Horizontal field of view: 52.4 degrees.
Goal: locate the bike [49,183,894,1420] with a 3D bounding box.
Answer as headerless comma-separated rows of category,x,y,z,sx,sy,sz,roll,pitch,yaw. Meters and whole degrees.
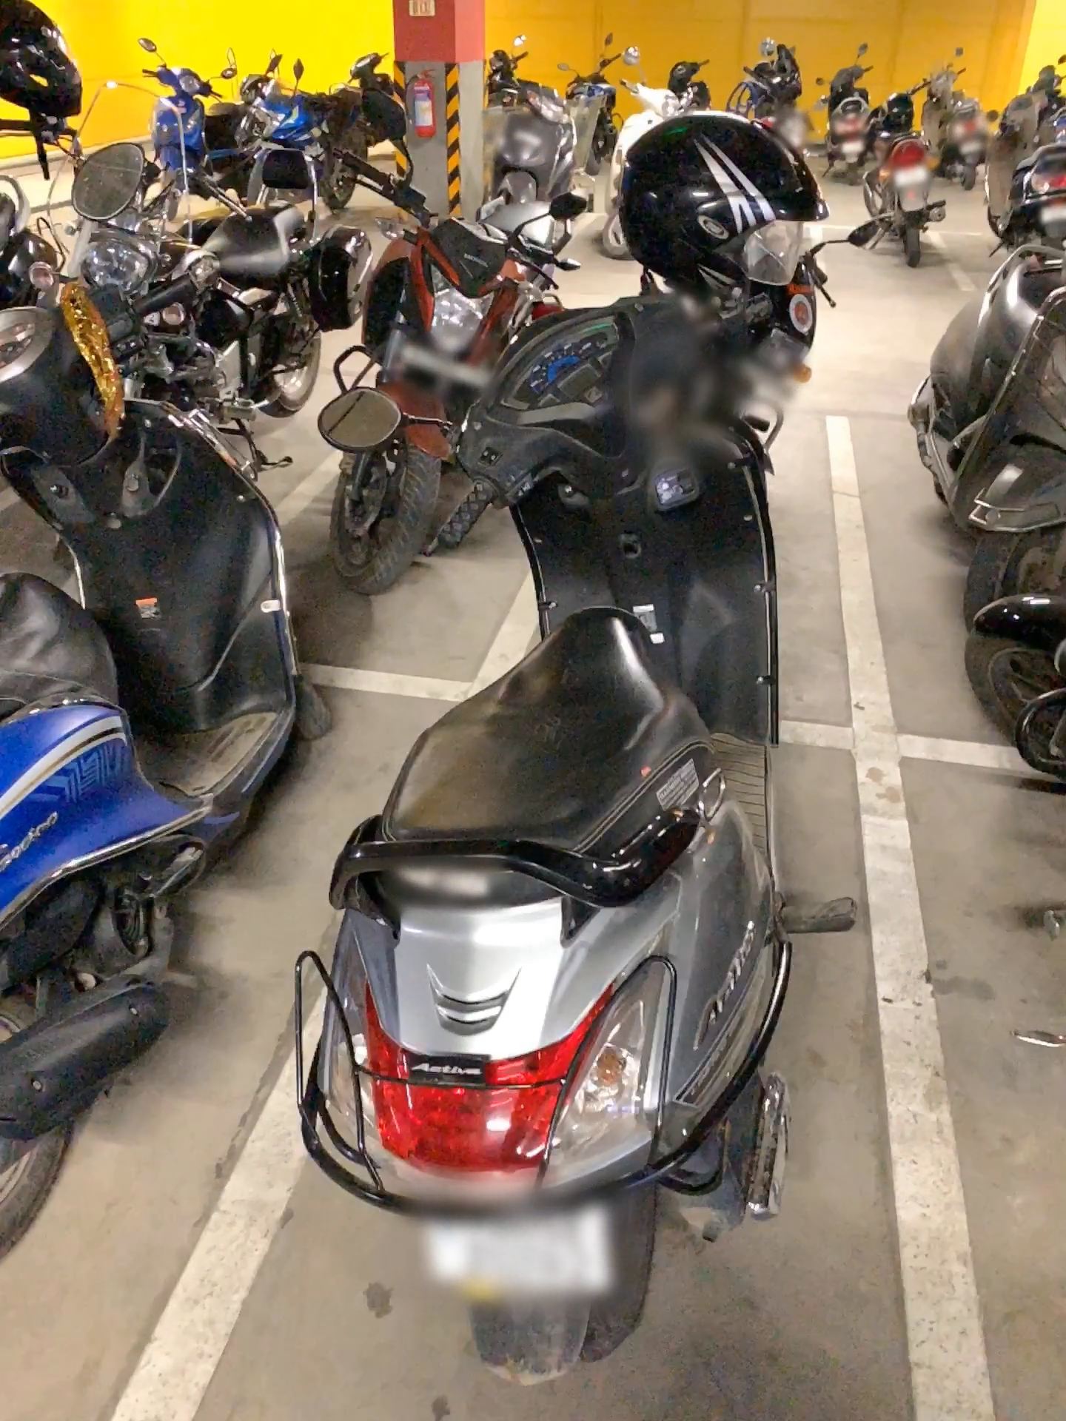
bike,0.043,-0.054,1.691,0.630,1.089,1.541,6,35,7
